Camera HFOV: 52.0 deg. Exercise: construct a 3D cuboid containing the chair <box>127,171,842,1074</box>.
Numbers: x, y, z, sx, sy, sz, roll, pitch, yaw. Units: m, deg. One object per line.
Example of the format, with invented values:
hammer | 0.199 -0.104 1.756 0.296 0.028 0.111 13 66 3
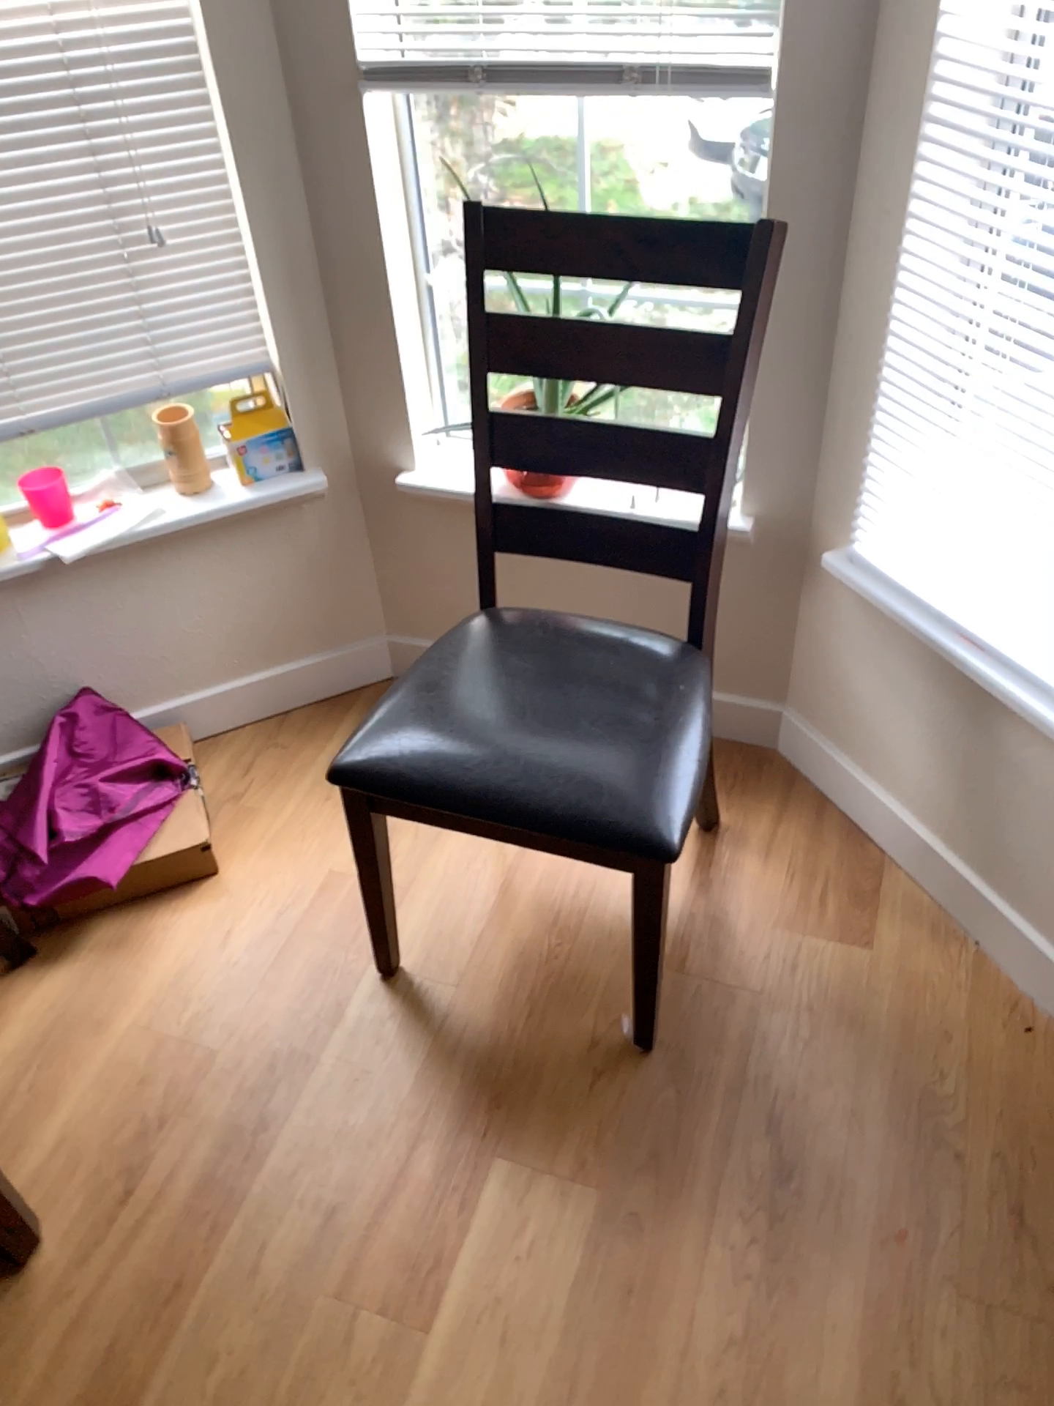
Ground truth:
chair | 0.019 -0.085 1.392 0.561 0.945 0.542 11 44 16
